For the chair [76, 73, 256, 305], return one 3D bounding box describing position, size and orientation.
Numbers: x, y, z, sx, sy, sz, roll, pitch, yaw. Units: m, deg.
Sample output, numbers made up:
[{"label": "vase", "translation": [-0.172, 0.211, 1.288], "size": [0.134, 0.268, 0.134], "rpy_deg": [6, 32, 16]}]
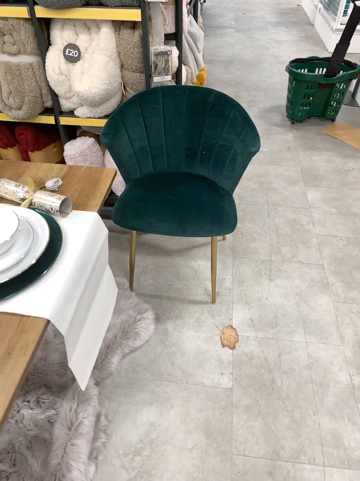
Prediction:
[{"label": "chair", "translation": [-0.008, -0.205, 1.532], "size": [0.540, 0.754, 0.530], "rpy_deg": [6, 44, 7]}]
